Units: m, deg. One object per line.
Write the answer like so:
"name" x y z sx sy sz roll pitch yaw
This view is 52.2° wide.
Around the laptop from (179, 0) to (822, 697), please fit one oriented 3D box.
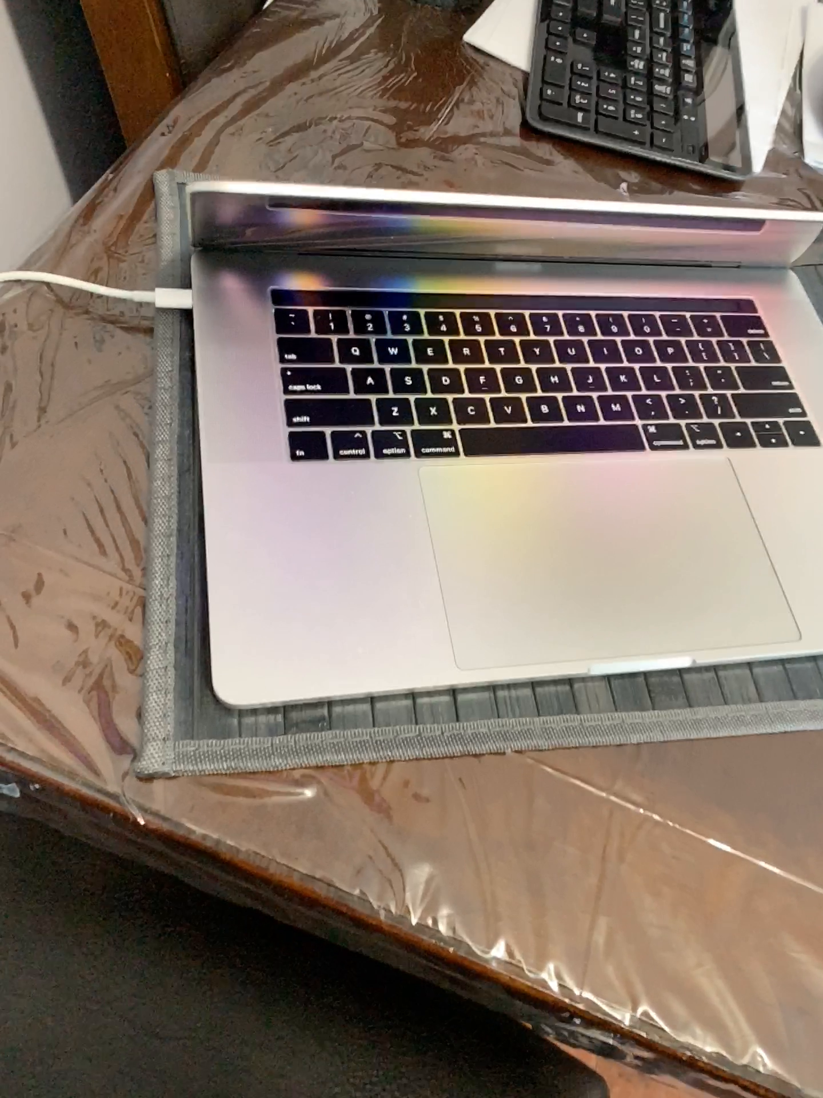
"laptop" 0.090 -0.096 0.337 0.340 0.164 0.234 -3 61 -14
